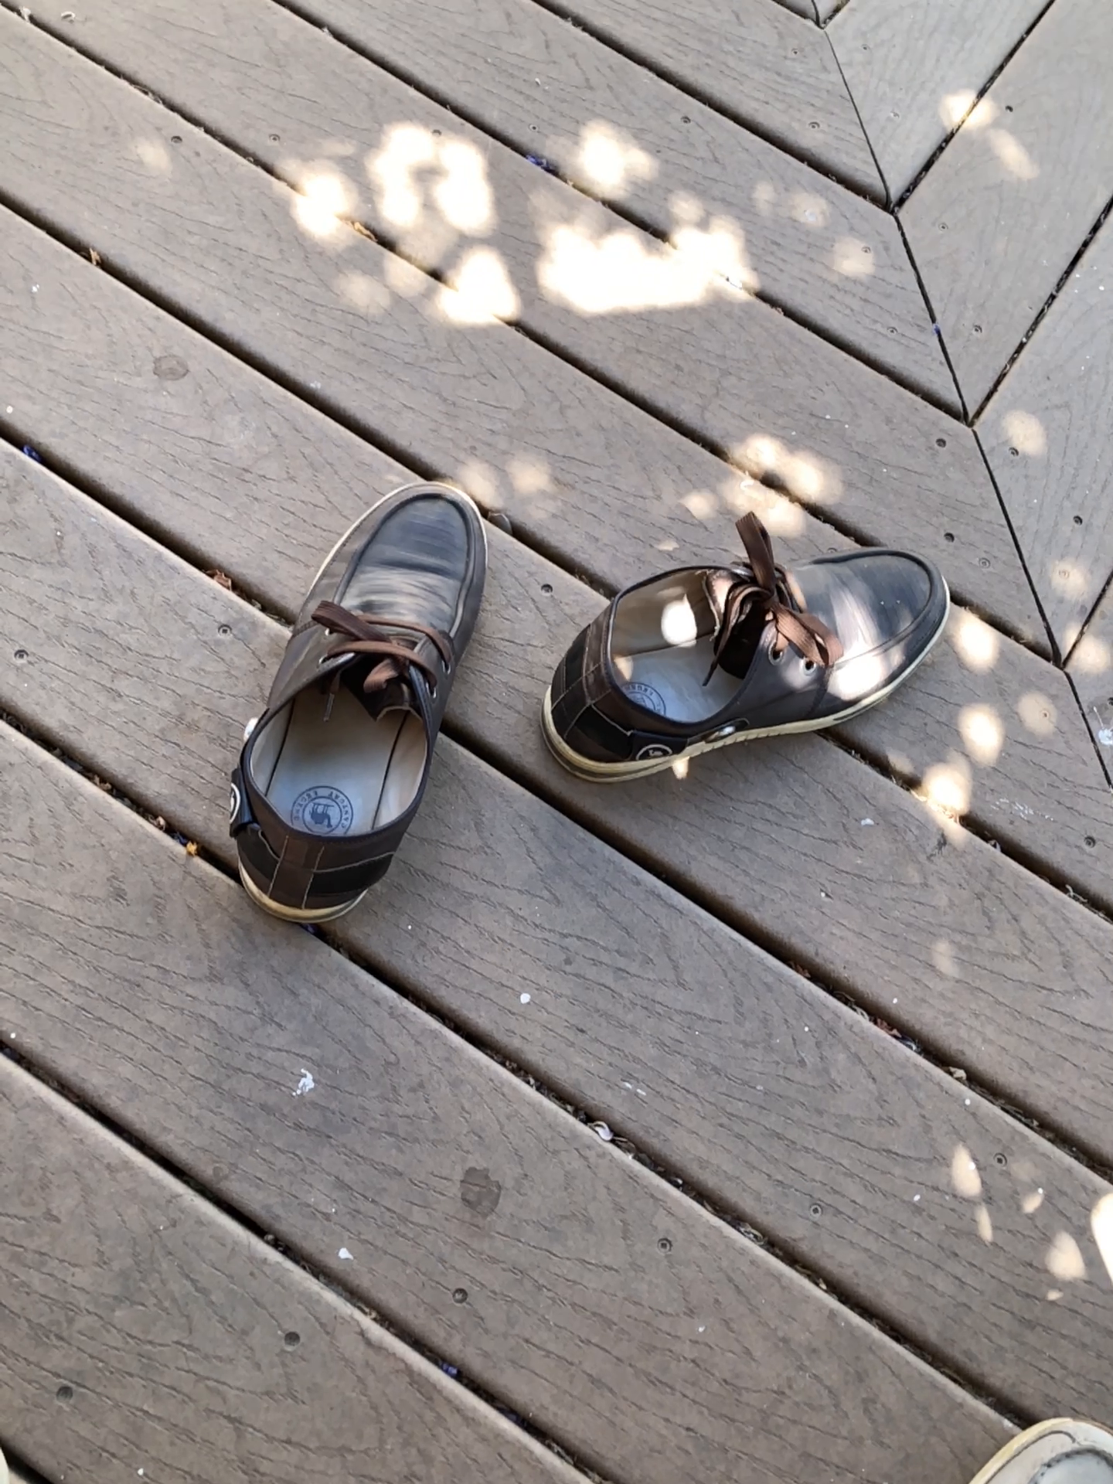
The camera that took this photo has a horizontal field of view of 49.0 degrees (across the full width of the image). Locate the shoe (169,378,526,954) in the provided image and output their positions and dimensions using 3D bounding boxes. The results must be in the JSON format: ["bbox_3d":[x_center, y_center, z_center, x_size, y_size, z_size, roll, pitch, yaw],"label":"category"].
[{"bbox_3d":[-0.114,-0.045,0.722,0.108,0.121,0.301,16,66,-3],"label":"shoe"}]

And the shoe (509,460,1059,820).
[{"bbox_3d":[0.137,-0.065,0.772,0.303,0.121,0.108,-17,72,-16],"label":"shoe"}]
